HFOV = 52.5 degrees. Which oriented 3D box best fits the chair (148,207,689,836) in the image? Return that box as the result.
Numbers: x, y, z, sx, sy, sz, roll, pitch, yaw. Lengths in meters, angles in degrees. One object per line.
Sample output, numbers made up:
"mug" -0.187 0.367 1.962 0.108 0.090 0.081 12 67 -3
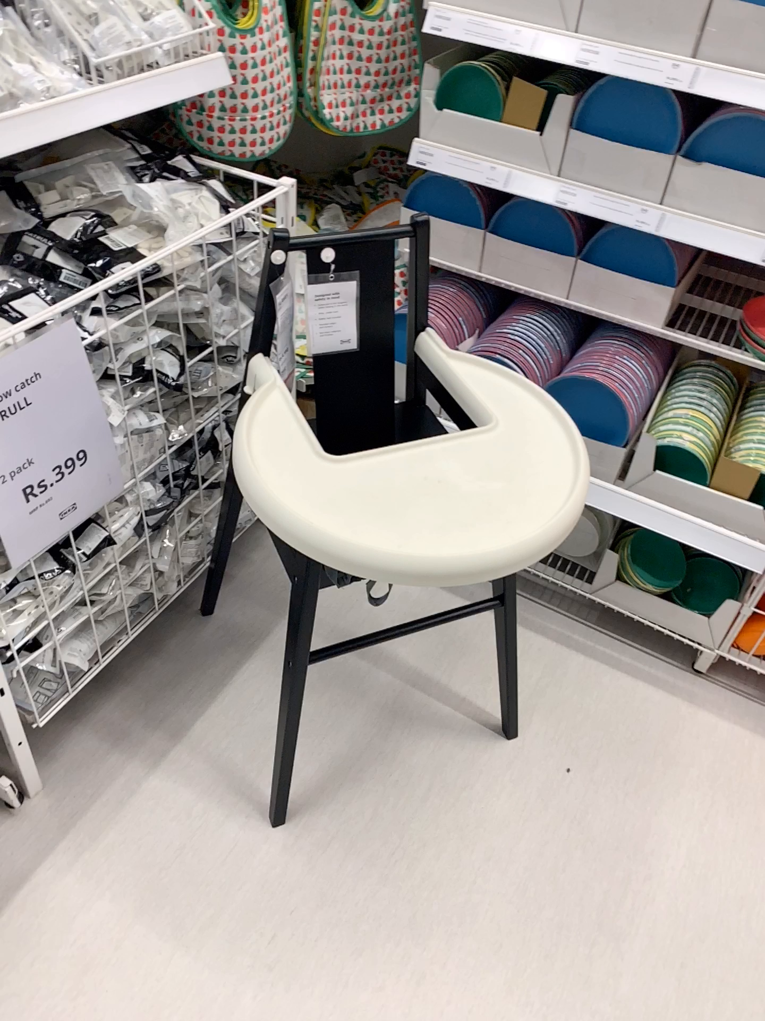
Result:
"chair" -0.017 0.015 1.283 0.530 0.777 0.552 -13 46 -20
